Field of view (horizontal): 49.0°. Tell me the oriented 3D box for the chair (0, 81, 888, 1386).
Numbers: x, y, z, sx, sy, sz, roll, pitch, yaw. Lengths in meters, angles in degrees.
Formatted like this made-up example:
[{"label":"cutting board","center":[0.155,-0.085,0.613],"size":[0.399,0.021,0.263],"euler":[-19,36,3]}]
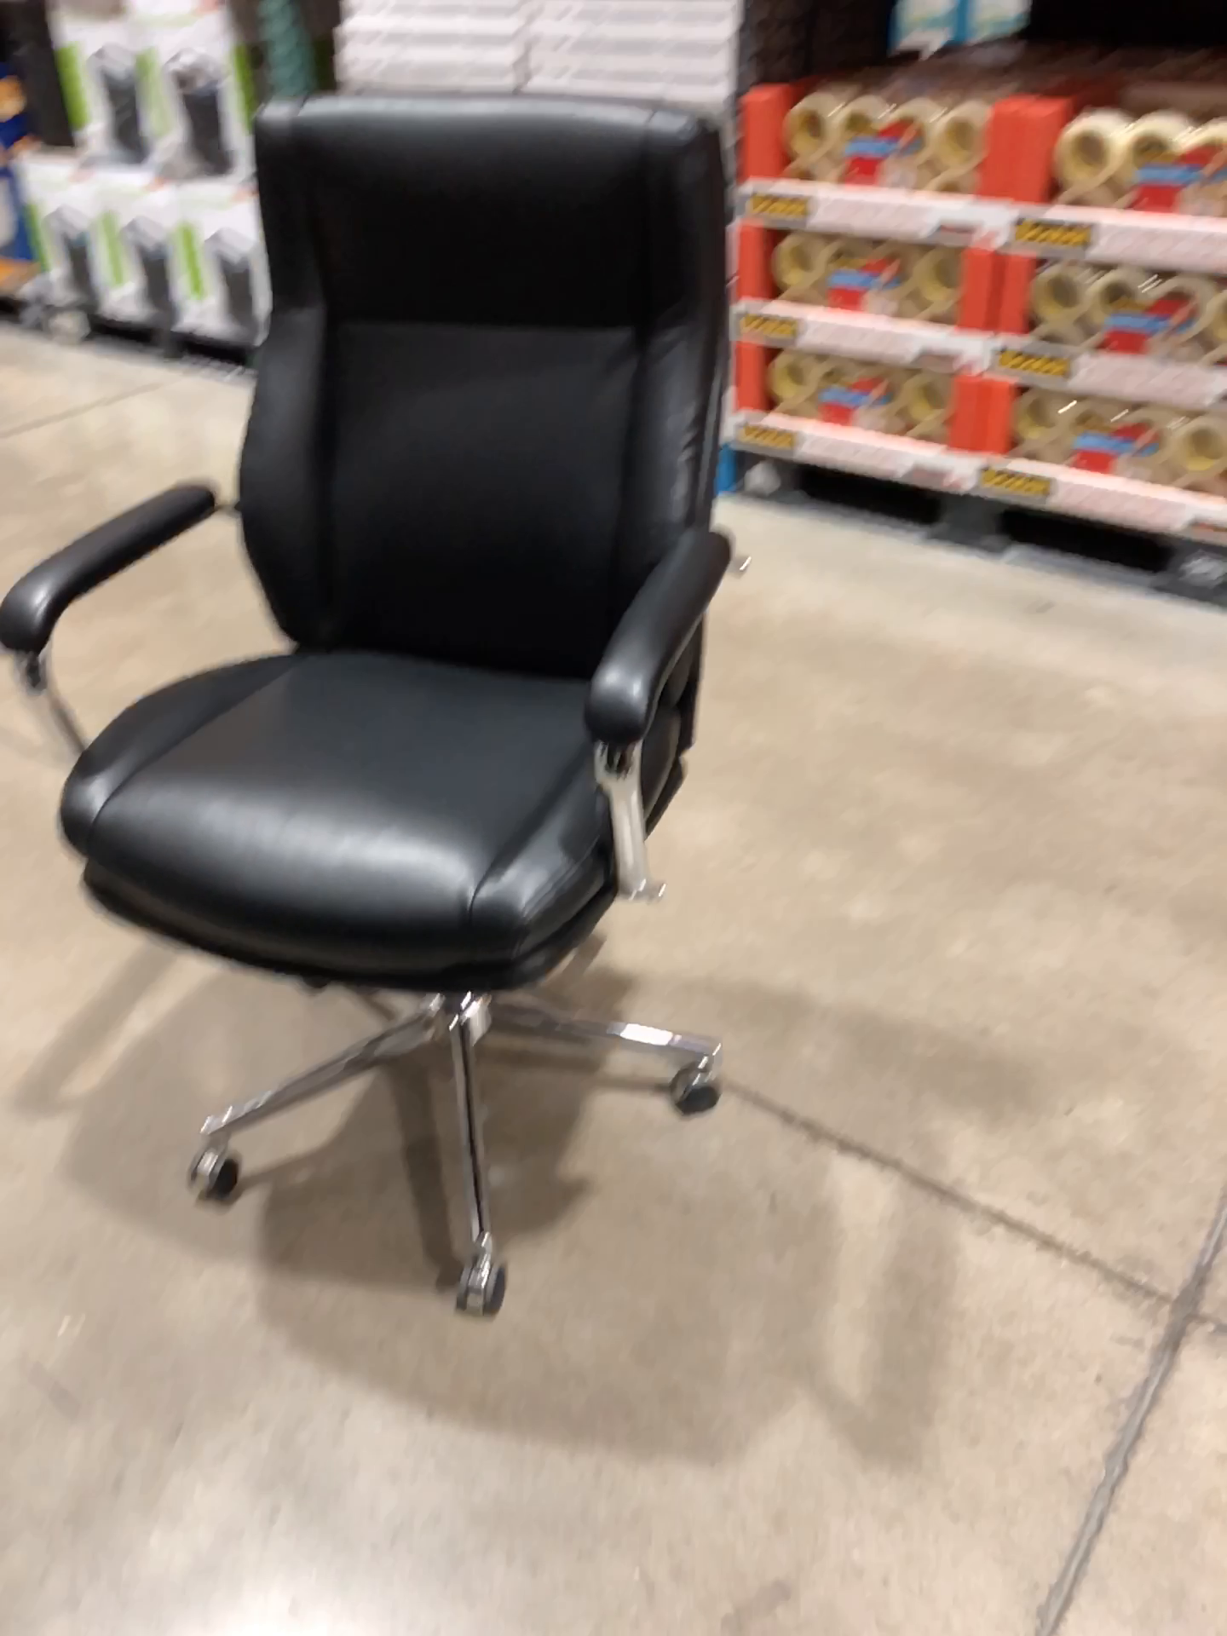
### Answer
[{"label":"chair","center":[-0.187,-0.131,1.406],"size":[0.711,1.045,0.702],"euler":[11,36,19]}]
